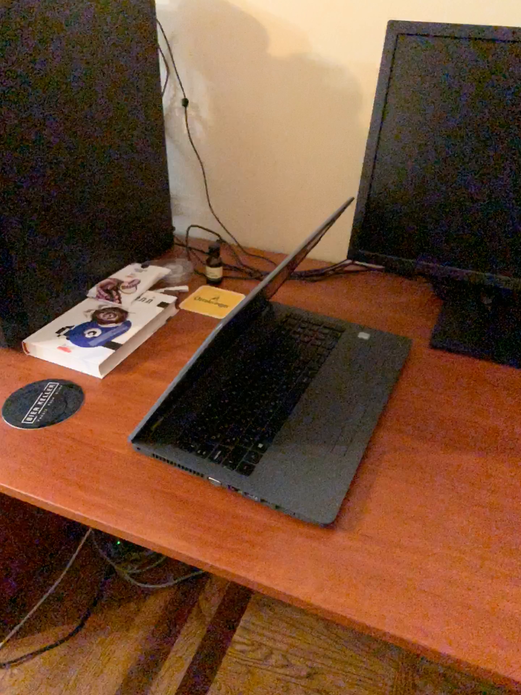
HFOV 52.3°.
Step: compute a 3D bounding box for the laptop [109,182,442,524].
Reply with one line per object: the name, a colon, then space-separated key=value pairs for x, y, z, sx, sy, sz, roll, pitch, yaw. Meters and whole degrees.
laptop: x=0.045 y=-0.034 z=0.668 sx=0.249 sy=0.208 sz=0.376 roll=17 pitch=37 yaw=21
